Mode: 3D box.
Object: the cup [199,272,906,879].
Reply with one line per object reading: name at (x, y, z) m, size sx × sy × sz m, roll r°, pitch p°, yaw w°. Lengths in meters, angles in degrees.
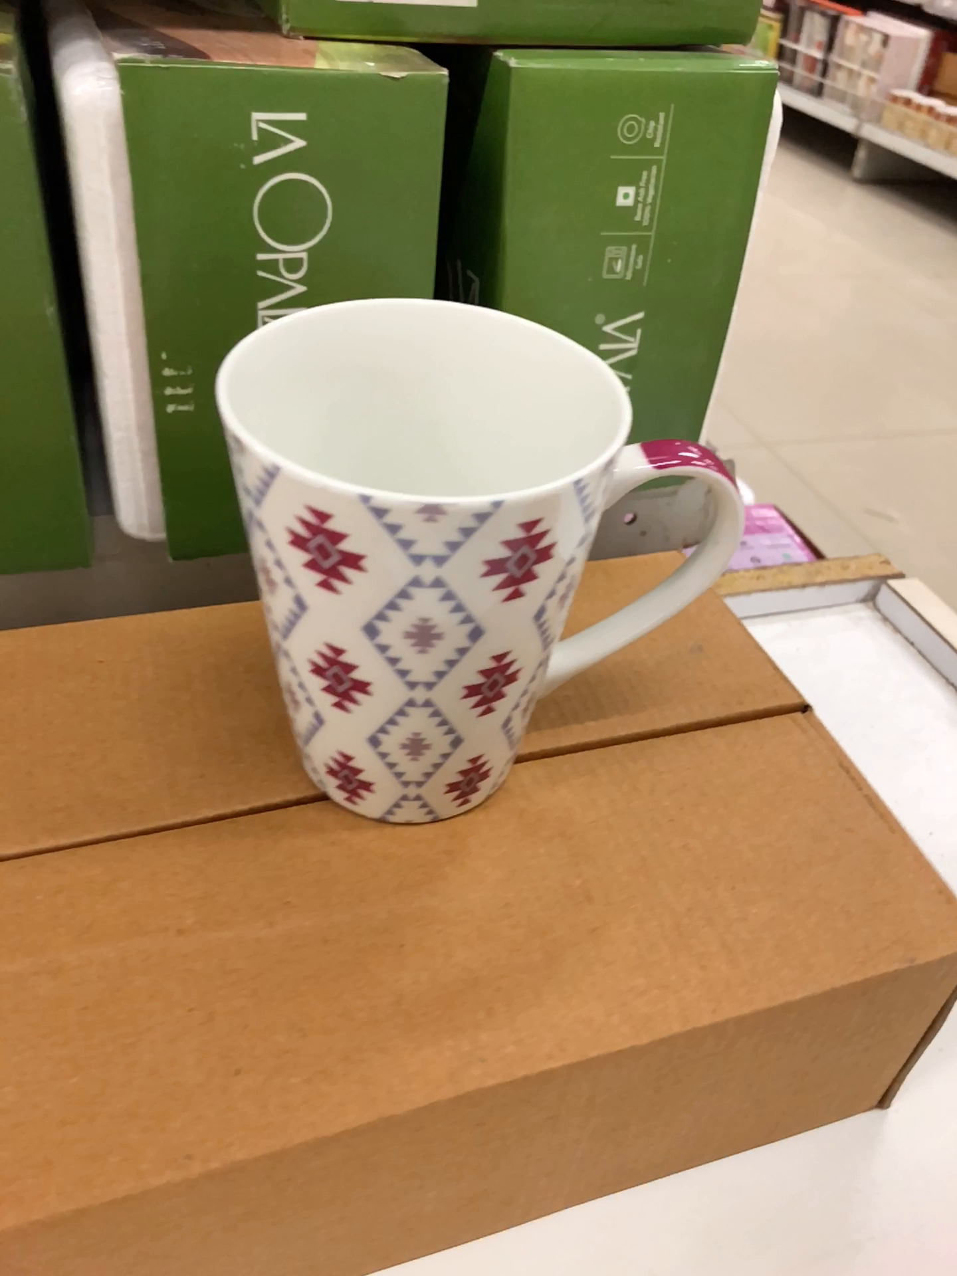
cup at (0.005, -0.015, 0.237) m, size 0.120 × 0.099 × 0.080 m, roll -2°, pitch 38°, yaw -11°
